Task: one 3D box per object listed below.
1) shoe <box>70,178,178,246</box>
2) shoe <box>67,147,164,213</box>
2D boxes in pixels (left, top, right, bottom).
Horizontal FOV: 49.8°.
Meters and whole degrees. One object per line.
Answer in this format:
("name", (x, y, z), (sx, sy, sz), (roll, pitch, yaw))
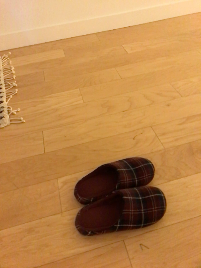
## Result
("shoe", (0.056, 0.209, 0.598), (0.270, 0.030, 0.121), (-11, 46, -4))
("shoe", (0.044, 0.134, 0.671), (0.270, 0.030, 0.121), (-18, 46, -10))
